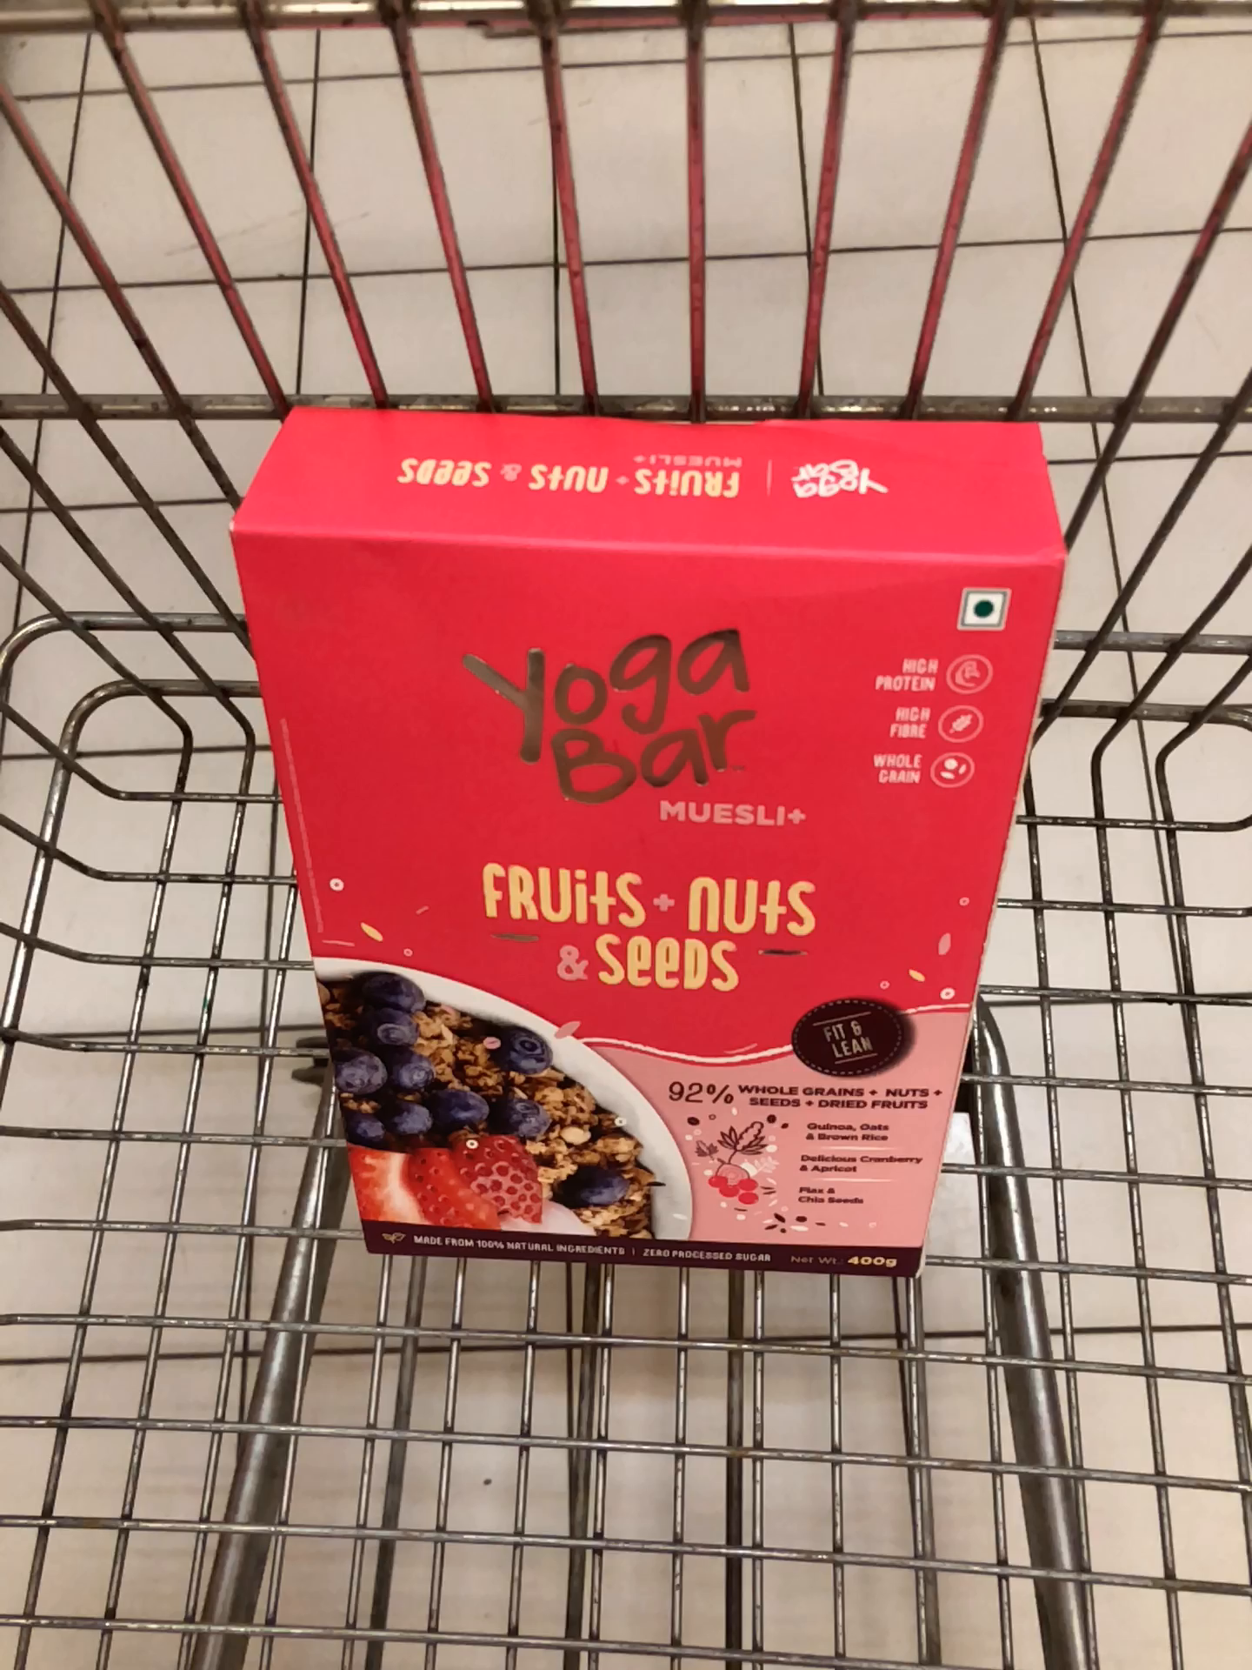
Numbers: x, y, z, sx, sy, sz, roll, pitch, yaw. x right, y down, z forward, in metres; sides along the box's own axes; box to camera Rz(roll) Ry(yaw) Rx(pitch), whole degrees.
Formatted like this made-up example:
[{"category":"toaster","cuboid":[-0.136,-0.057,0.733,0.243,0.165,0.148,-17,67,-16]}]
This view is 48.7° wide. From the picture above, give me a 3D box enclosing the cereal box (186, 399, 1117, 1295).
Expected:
[{"category":"cereal box","cuboid":[0.006,0.019,0.352,0.170,0.239,0.060,2,40,3]}]
